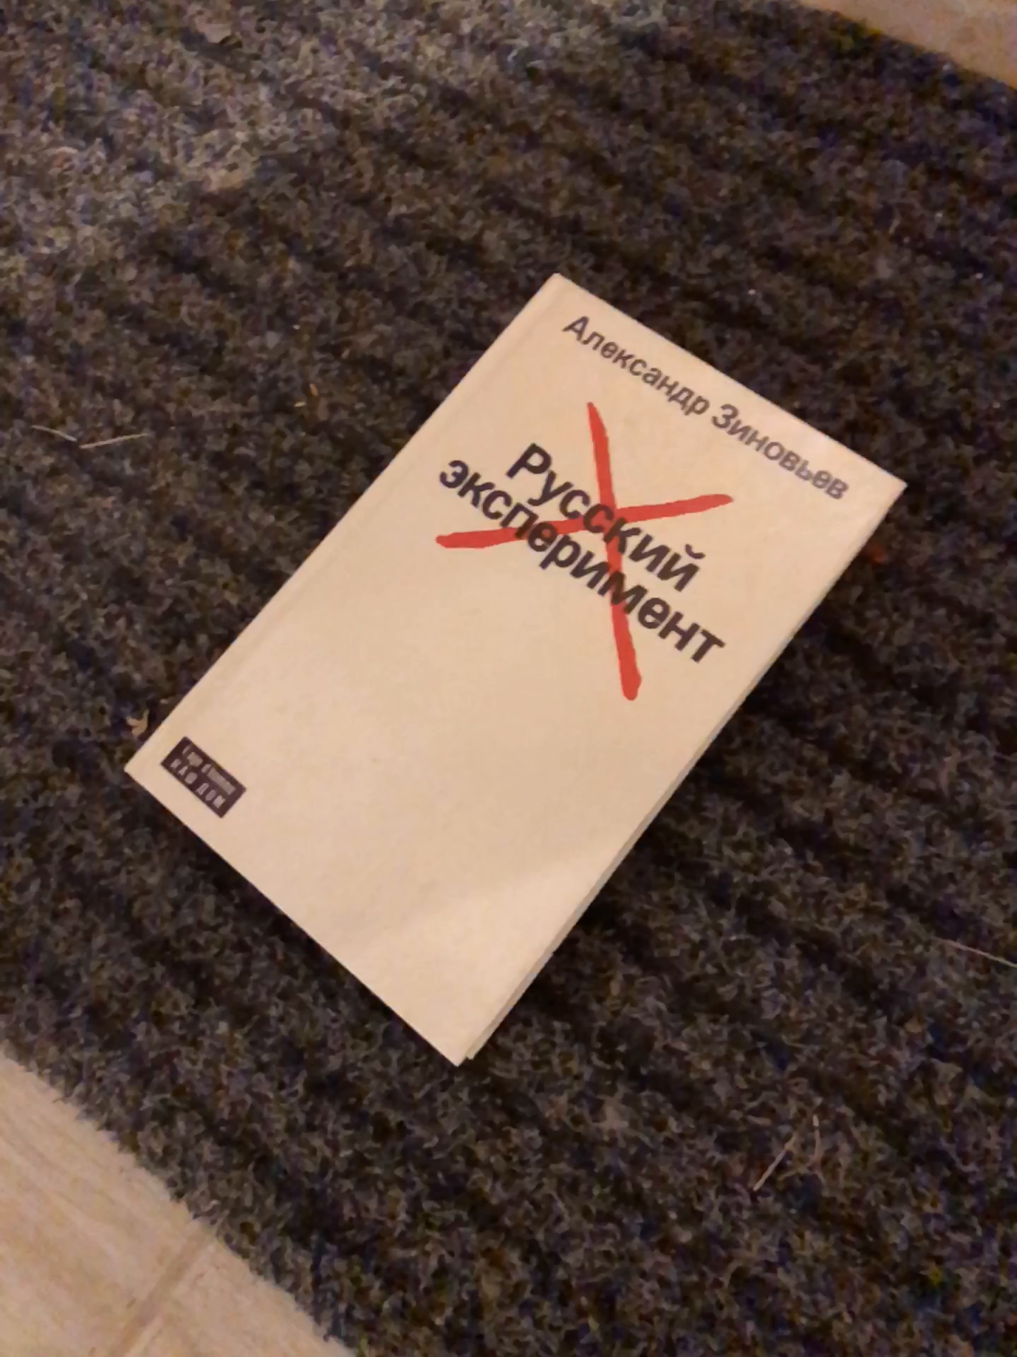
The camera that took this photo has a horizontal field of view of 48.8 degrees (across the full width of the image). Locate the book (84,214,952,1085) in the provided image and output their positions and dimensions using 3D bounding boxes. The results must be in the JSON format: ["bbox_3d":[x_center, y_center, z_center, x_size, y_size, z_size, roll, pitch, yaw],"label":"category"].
[{"bbox_3d":[0.004,-0.014,0.292,0.120,0.040,0.190,37,81,18],"label":"book"}]
